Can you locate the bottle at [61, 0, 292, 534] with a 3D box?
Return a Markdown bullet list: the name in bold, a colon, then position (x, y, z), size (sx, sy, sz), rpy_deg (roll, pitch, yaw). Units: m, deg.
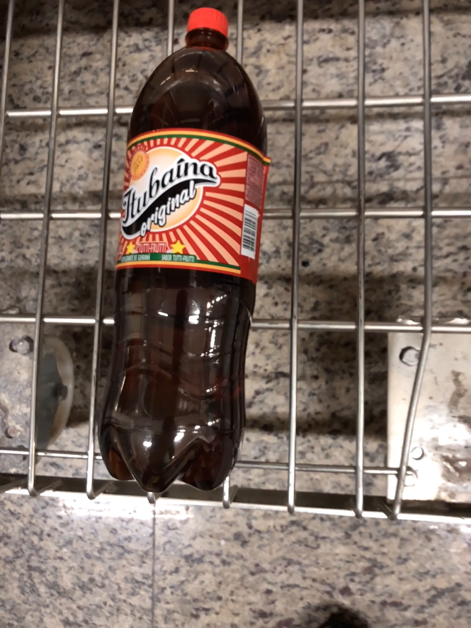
- **bottle**: position (-0.031, -0.040, 0.339), size (0.110, 0.070, 0.320), rpy_deg (4, 88, 9)
